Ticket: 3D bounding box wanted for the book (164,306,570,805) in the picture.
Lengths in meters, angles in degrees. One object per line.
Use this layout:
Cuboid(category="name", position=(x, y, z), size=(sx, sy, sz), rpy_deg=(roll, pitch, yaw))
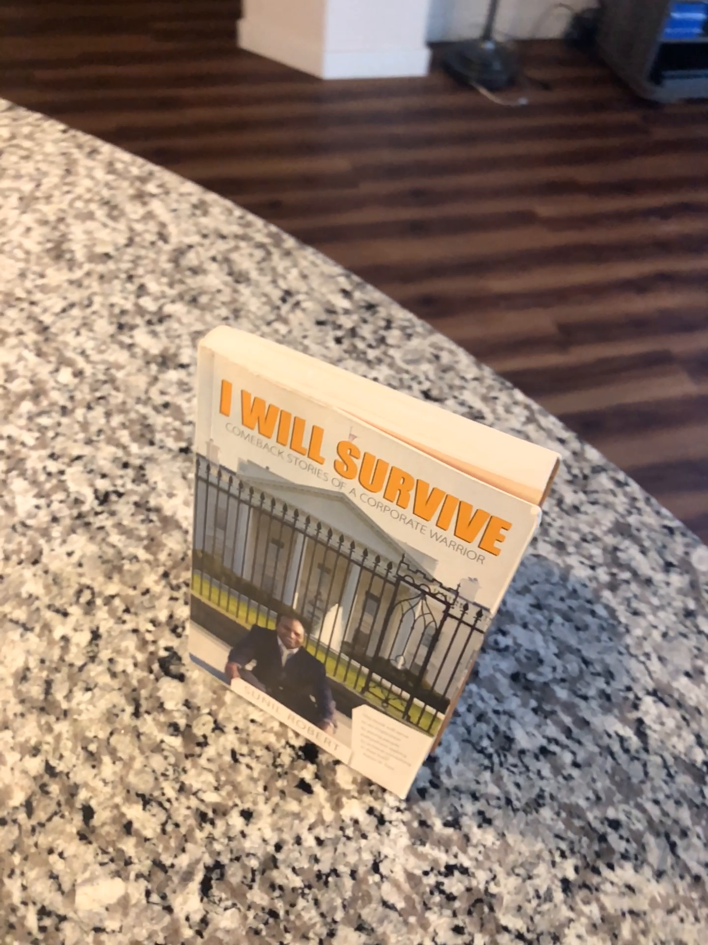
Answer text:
Cuboid(category="book", position=(-0.012, 0.046, 0.325), size=(0.134, 0.191, 0.032), rpy_deg=(26, 43, 14))
